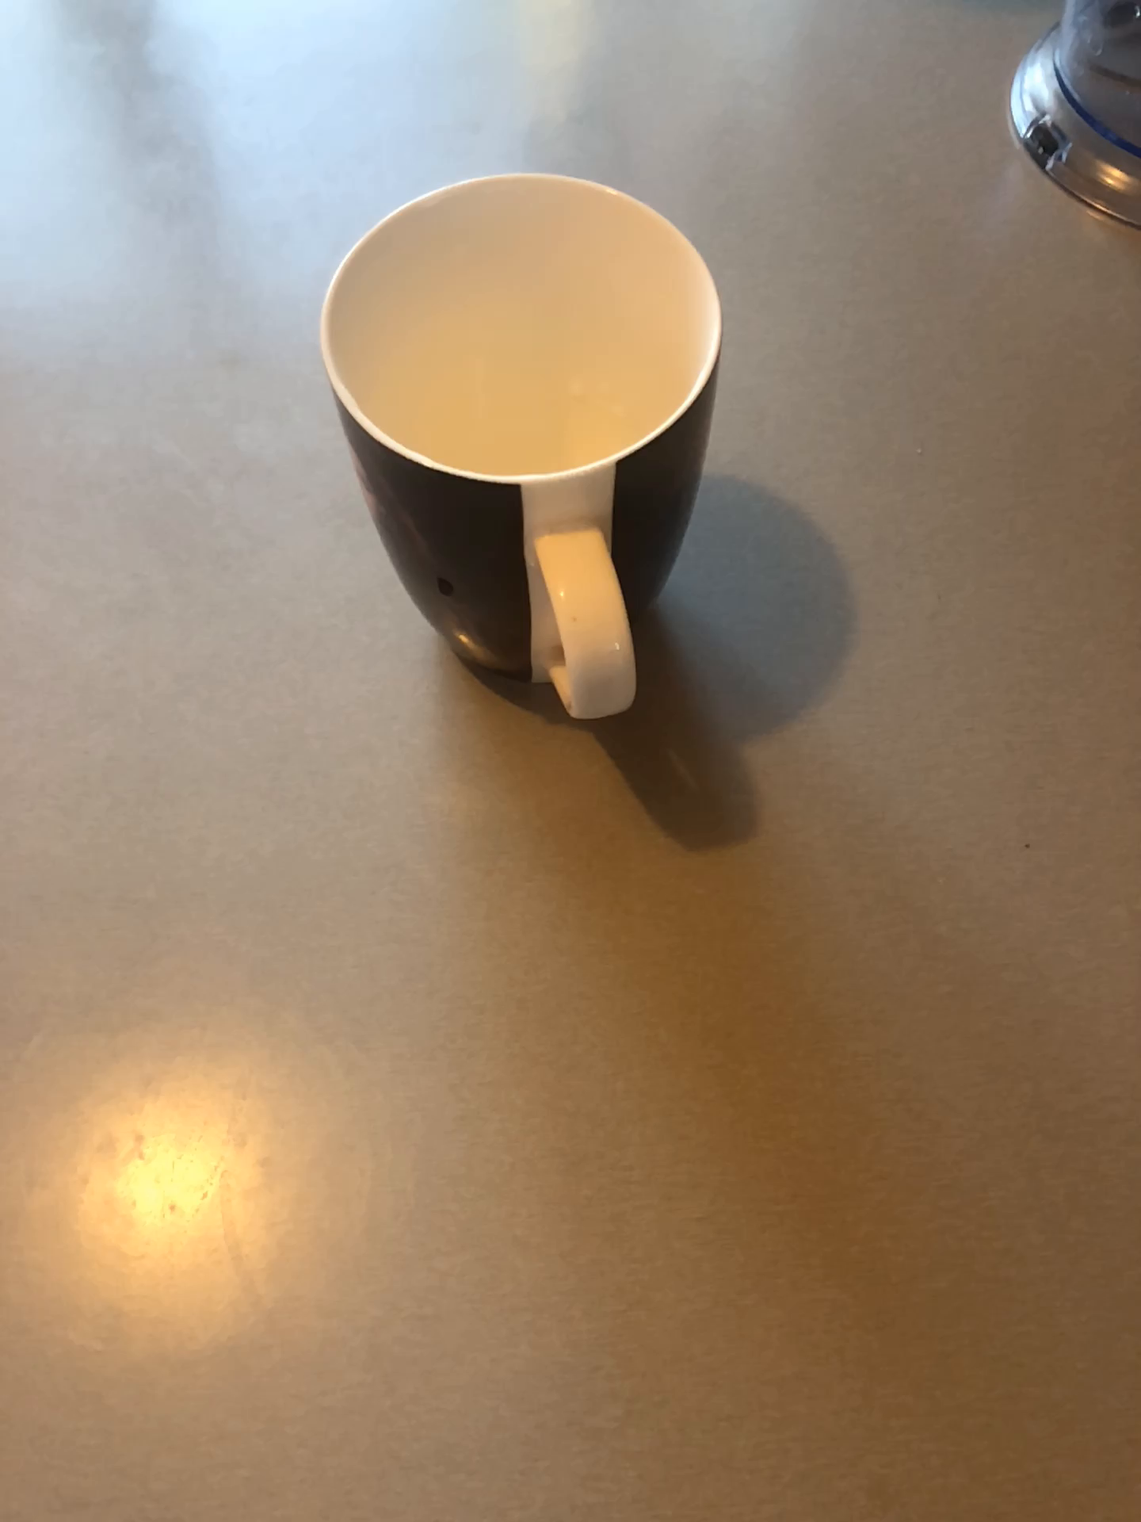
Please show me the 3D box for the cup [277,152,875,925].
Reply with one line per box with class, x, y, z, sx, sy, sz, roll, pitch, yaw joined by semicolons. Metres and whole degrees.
cup;-0.004;-0.049;0.297;0.090;0.100;0.130;-13;63;-6
